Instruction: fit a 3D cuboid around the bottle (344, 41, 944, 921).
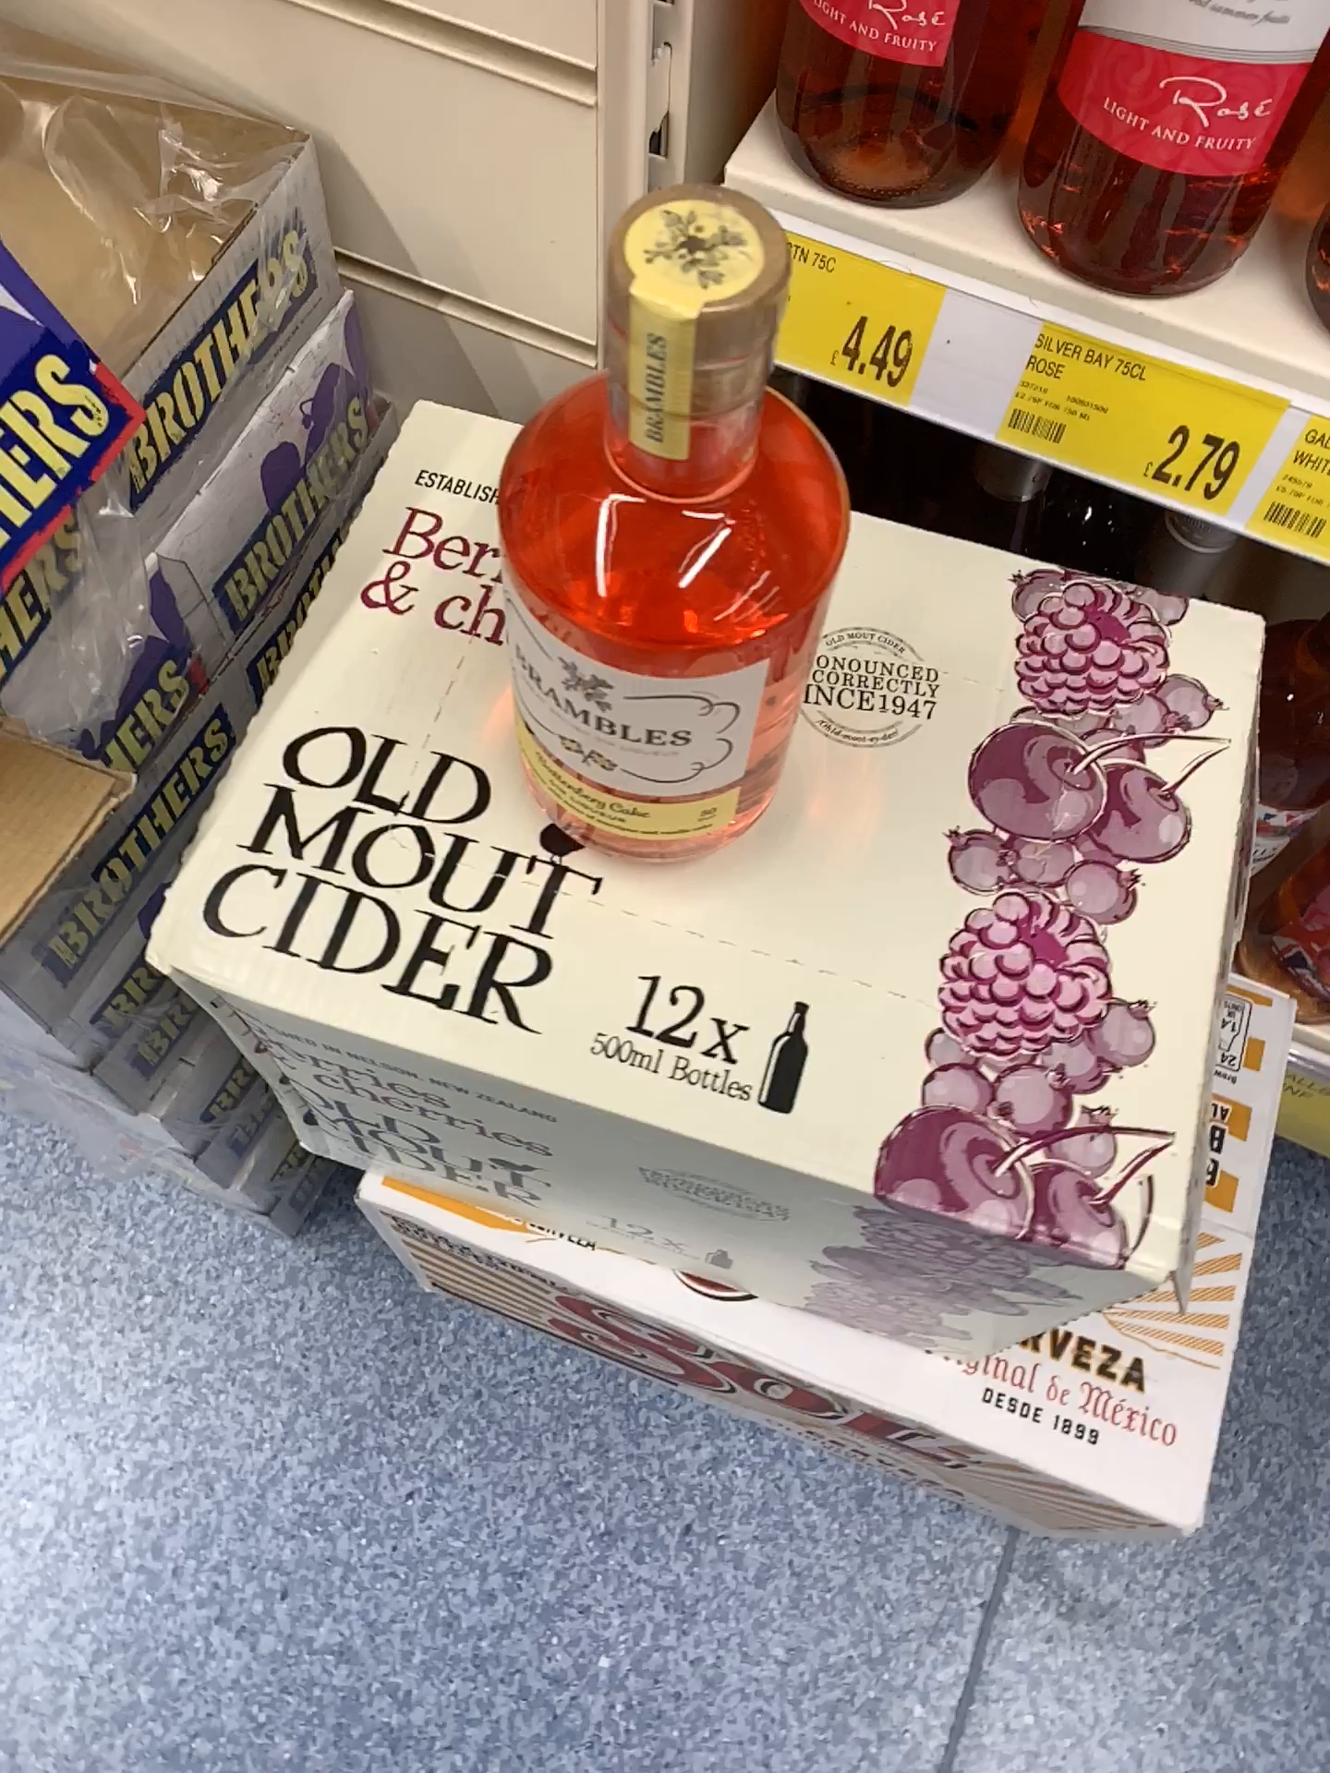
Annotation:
[{"bbox_3d":[-0.005,-0.075,0.314,0.077,0.176,0.076,1,65,-2],"label":"bottle"}]
